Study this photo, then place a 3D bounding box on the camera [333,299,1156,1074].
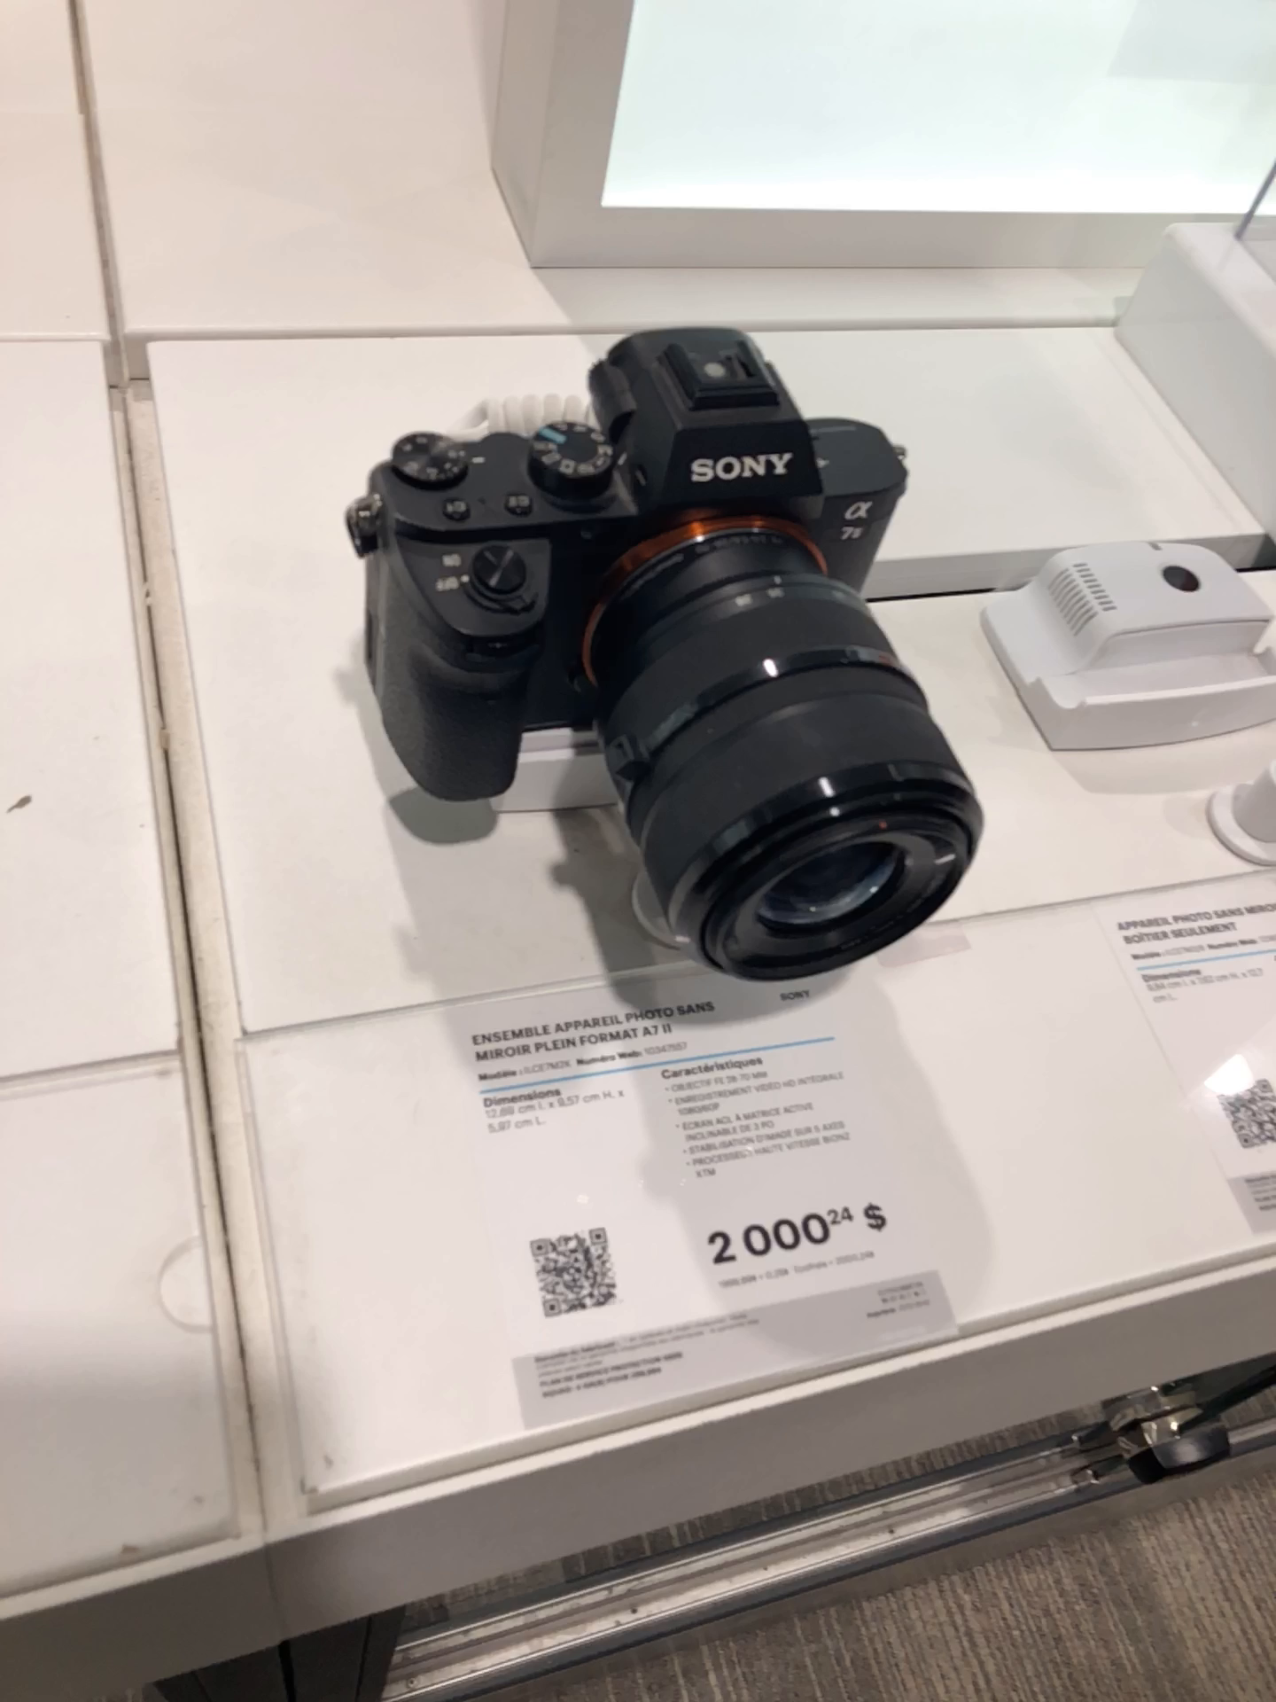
[{"bbox_3d":[0.010,-0.043,0.326,0.134,0.099,0.131,-10,56,-19],"label":"camera"}]
